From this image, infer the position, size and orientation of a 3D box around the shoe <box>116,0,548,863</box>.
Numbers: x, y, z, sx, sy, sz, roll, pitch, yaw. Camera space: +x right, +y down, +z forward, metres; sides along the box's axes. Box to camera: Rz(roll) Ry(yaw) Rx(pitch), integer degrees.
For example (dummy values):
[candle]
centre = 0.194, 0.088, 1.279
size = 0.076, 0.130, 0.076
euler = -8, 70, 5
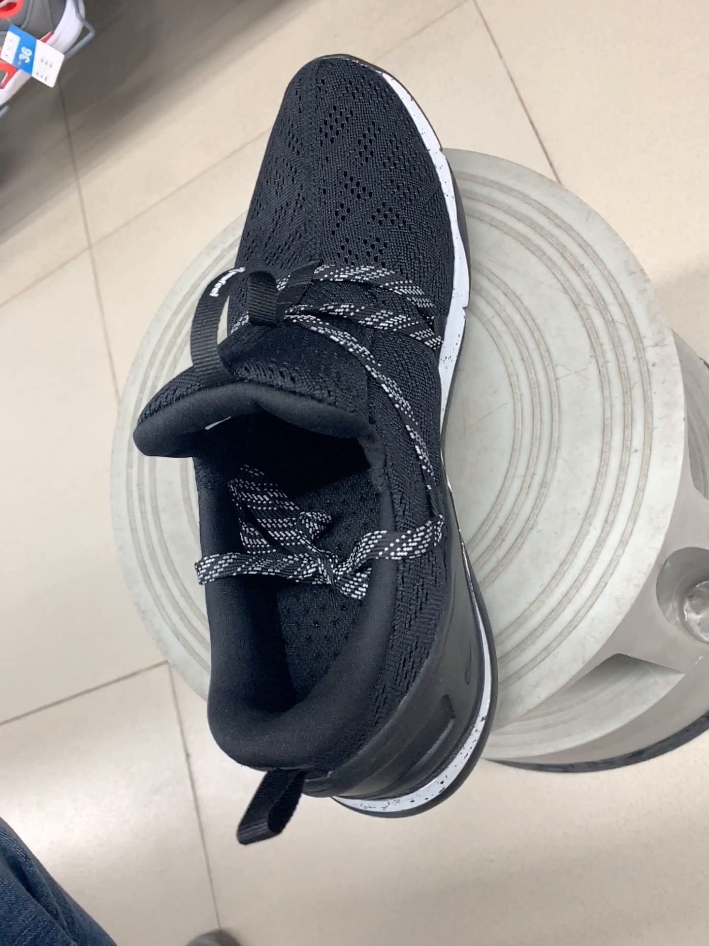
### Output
[shoe]
centre = -0.009, -0.031, 0.265
size = 0.100, 0.090, 0.290
euler = -11, 70, 24
